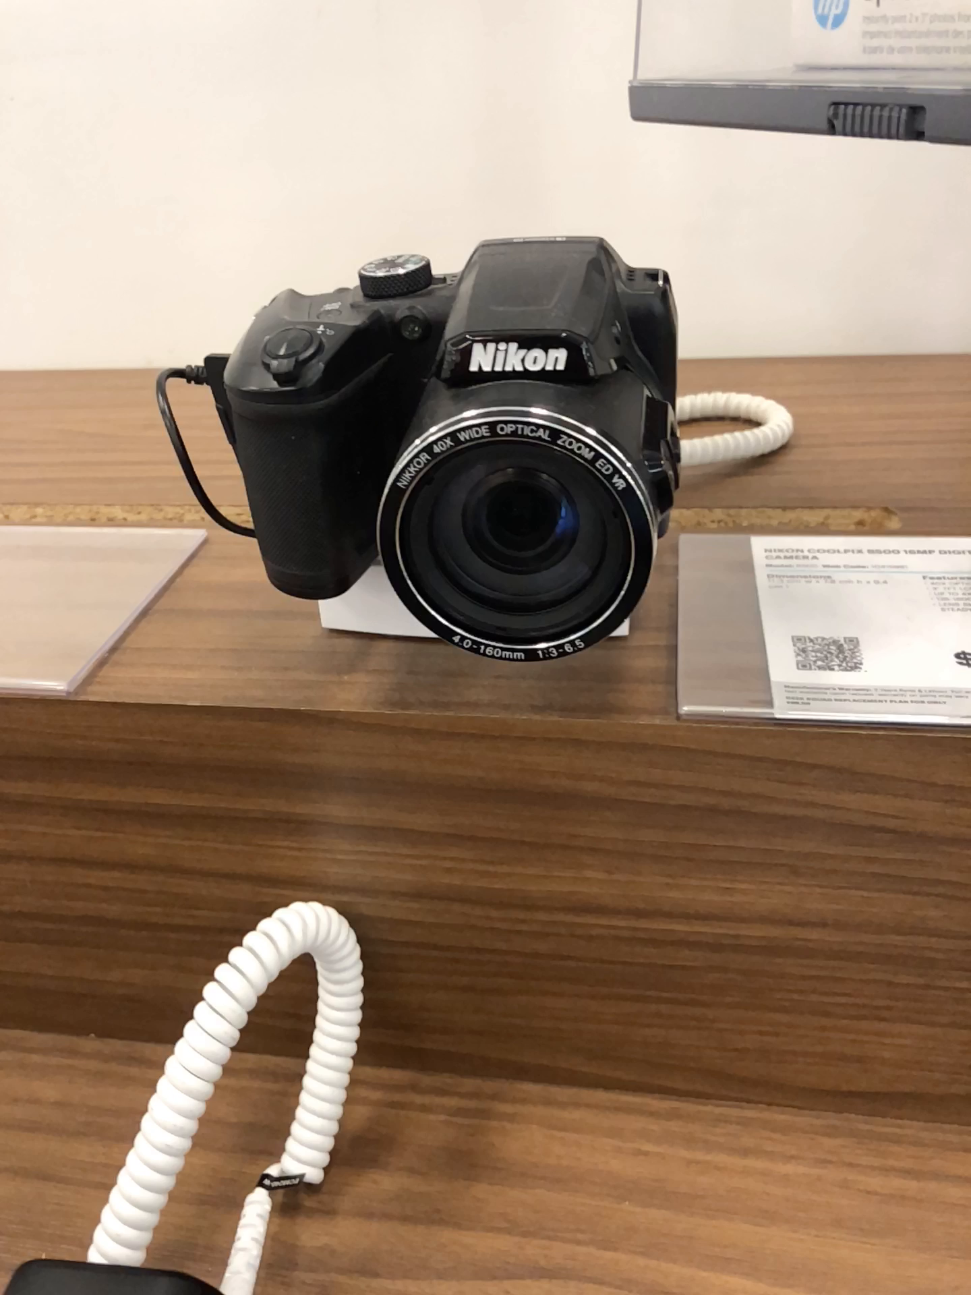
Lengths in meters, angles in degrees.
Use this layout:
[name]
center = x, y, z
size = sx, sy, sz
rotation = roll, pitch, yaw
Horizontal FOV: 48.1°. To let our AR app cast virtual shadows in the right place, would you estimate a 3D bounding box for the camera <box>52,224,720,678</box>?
[camera]
center = -0.011, -0.058, 0.279
size = 0.130, 0.070, 0.131
rotation = 1, 30, 9
